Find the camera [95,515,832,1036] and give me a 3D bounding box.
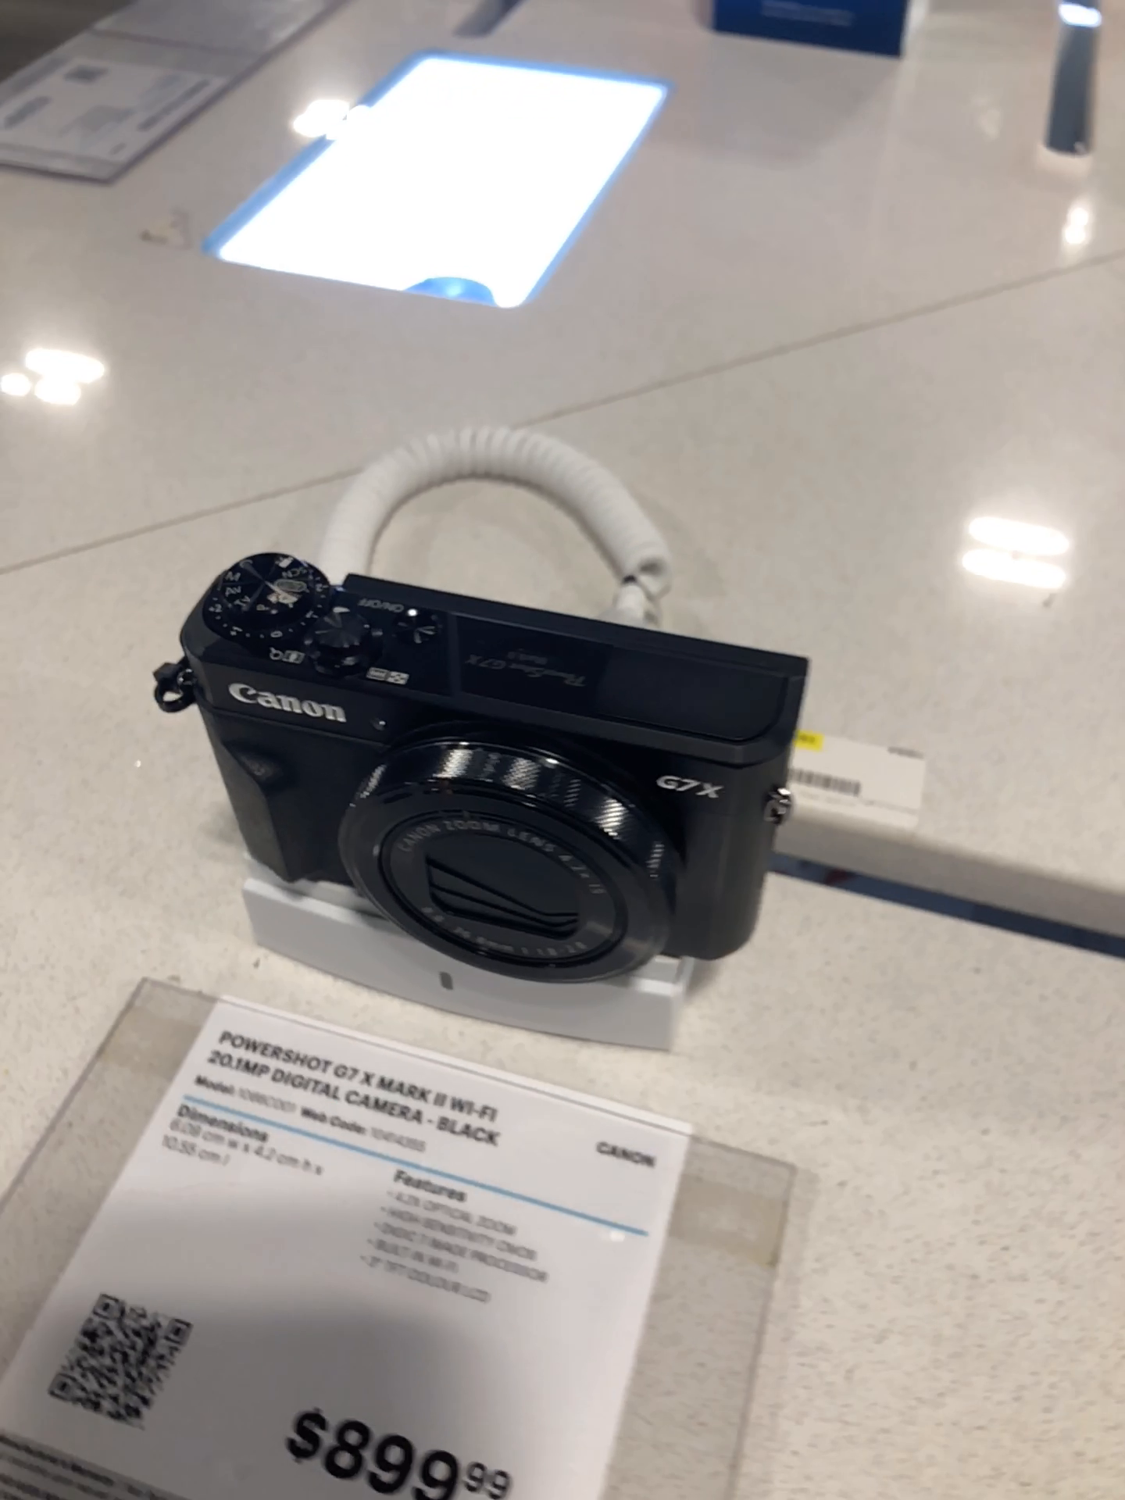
[{"bbox_3d":[-0.015,0.004,0.222,0.110,0.060,0.040,12,48,10],"label":"camera"}]
